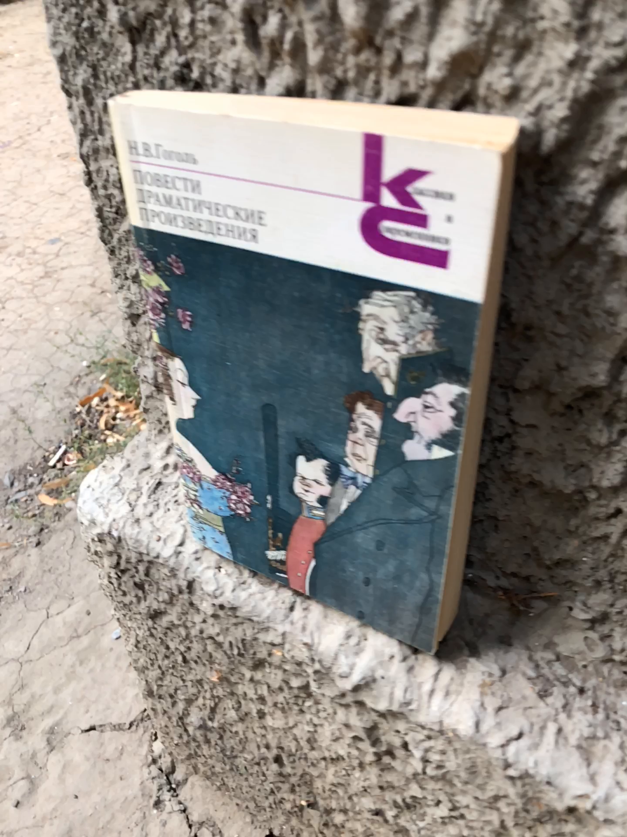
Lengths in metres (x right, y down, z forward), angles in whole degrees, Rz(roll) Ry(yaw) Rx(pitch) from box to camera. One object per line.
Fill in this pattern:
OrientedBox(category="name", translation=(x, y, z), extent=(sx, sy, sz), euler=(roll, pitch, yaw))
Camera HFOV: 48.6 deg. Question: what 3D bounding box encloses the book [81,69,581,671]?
OrientedBox(category="book", translation=(-0.001, -0.009, 0.243), extent=(0.137, 0.190, 0.030), euler=(17, 38, 22))
